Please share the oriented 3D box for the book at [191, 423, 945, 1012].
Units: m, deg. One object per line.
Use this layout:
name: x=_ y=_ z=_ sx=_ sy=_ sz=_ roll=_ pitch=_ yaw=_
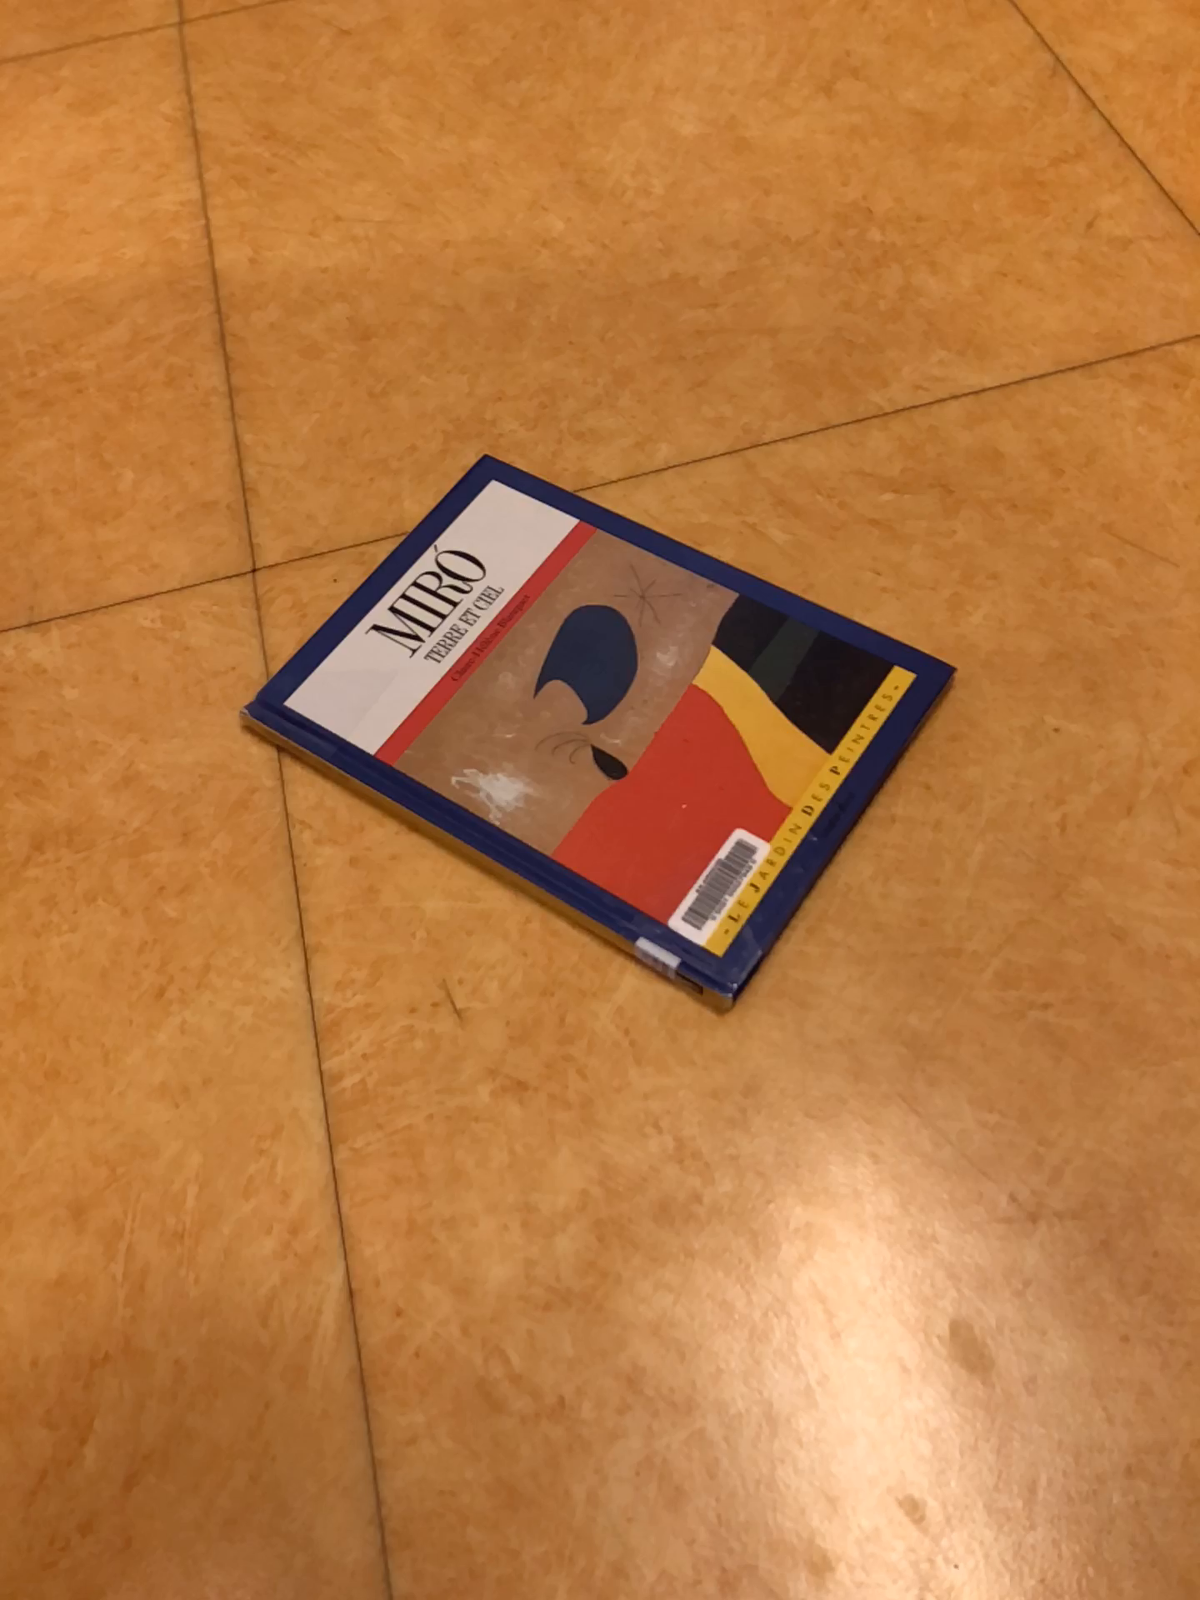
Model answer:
book: x=-0.015 y=-0.050 z=0.530 sx=0.245 sy=0.020 sz=0.178 roll=29 pitch=65 yaw=22
